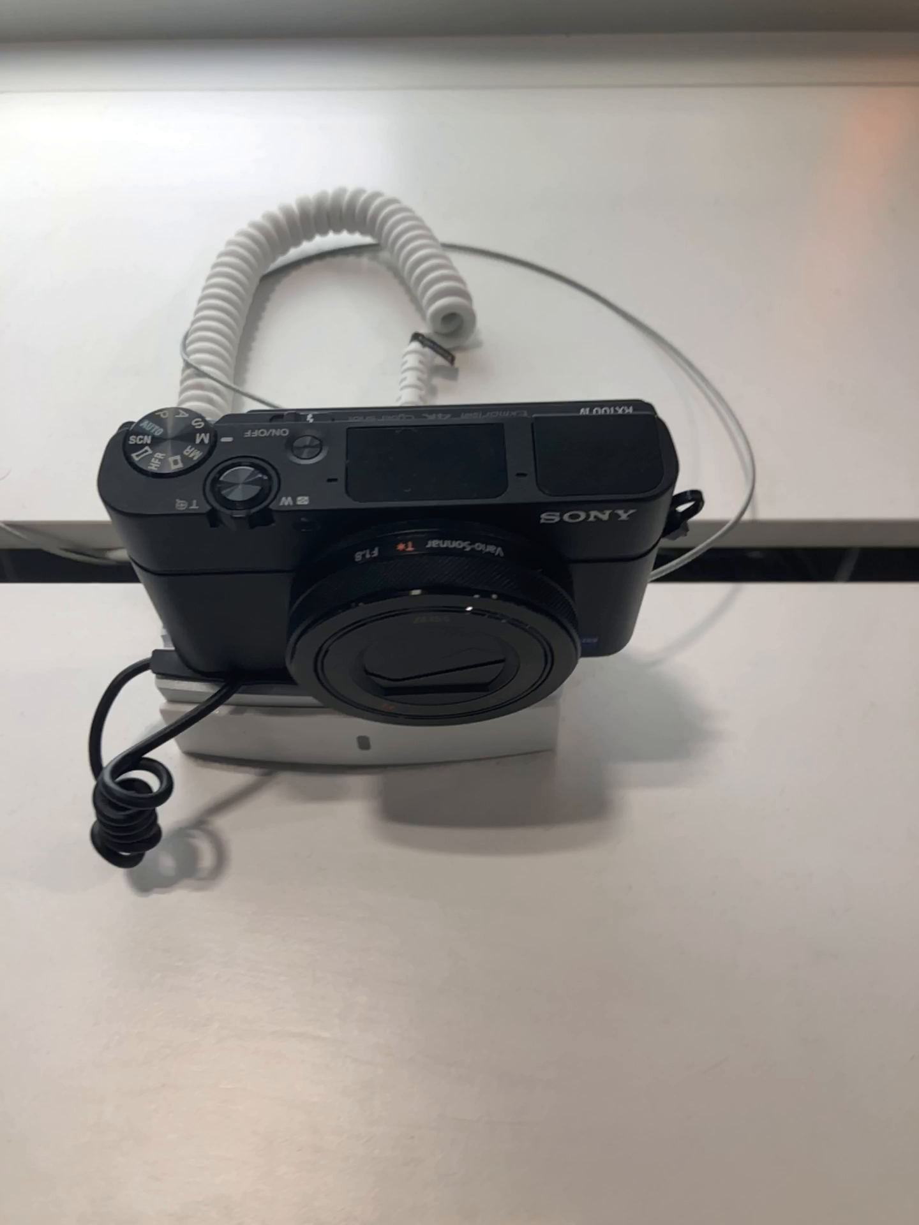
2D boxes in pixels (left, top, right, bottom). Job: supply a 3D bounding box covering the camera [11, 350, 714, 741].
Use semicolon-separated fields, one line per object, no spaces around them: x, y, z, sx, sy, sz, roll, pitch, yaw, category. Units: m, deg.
-0.015;-0.010;0.200;0.110;0.070;0.040;-1;56;0;camera
